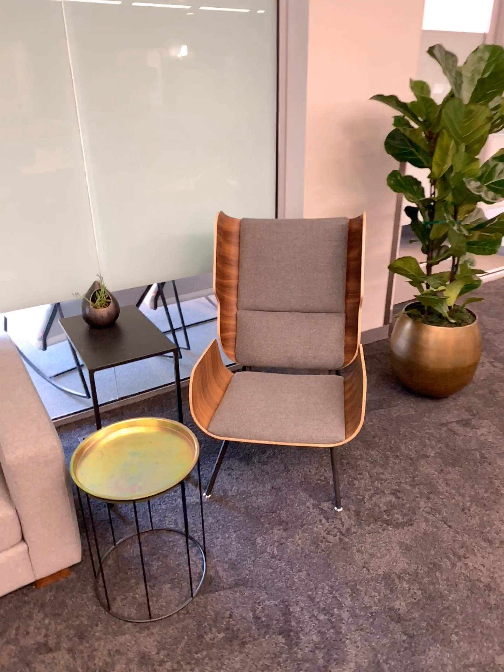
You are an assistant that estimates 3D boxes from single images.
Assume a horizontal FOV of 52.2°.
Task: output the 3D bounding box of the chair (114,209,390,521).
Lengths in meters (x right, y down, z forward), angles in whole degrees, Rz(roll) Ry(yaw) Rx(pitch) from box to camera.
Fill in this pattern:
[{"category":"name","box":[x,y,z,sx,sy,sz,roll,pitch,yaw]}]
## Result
[{"category":"chair","box":[0.054,0.046,2.252,0.880,0.995,0.935,2,25,7]}]
